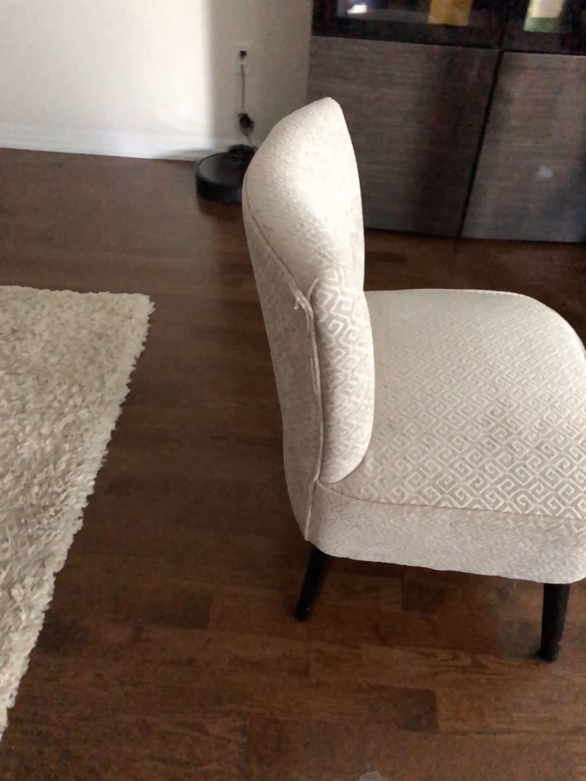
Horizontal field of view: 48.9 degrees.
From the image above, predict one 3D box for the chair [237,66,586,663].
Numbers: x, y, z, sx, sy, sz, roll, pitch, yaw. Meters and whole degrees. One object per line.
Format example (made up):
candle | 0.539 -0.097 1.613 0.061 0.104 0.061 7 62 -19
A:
chair | 0.256 -0.024 1.113 0.640 0.797 0.602 3 42 -1
